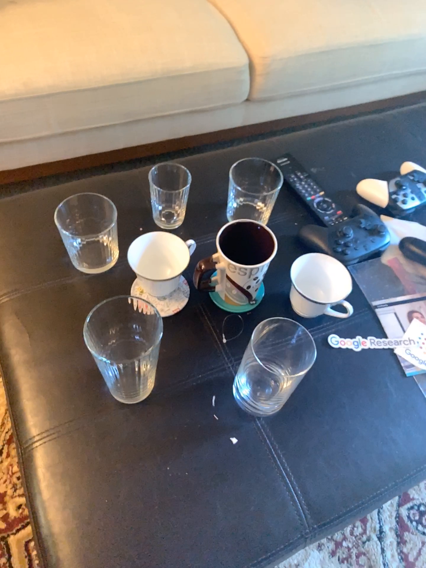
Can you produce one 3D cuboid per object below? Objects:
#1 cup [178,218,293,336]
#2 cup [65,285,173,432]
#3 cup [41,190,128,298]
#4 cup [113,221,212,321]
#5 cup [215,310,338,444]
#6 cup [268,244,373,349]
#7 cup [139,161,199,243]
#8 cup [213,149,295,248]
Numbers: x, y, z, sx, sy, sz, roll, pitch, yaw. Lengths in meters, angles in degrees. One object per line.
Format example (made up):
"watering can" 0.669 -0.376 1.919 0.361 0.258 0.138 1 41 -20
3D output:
"cup" 0.027 -0.009 0.652 0.130 0.120 0.090 -18 60 -17
"cup" -0.113 0.103 0.560 0.090 0.189 0.090 3 56 -4
"cup" -0.197 -0.061 0.685 0.090 0.120 0.090 3 56 -4
"cup" -0.075 -0.021 0.648 0.110 0.070 0.090 -25 63 -21
"cup" 0.070 0.120 0.544 0.090 0.139 0.090 3 56 -4
"cup" 0.160 0.019 0.664 0.110 0.080 0.090 31 59 14
"cup" -0.075 -0.138 0.743 0.070 0.100 0.070 3 56 -4
"cup" 0.066 -0.147 0.760 0.090 0.120 0.090 3 56 -4
